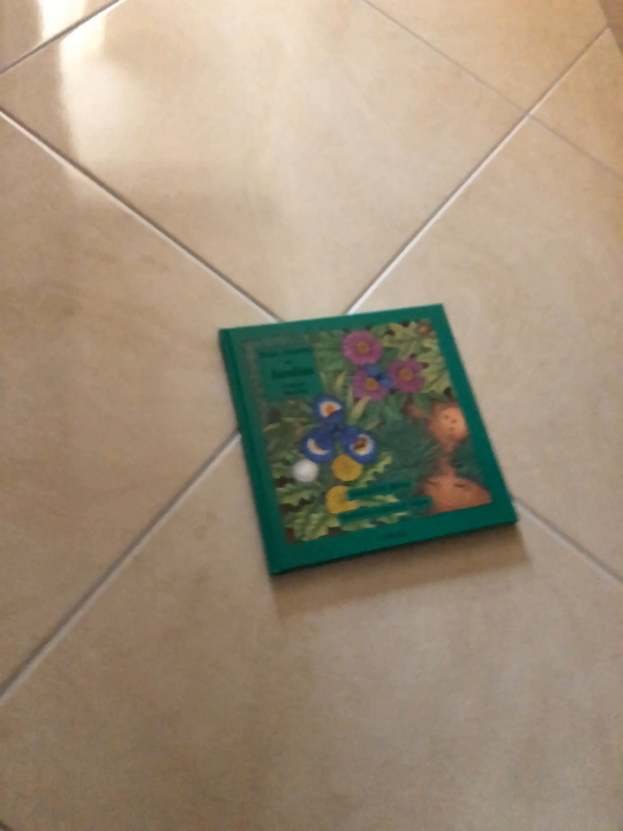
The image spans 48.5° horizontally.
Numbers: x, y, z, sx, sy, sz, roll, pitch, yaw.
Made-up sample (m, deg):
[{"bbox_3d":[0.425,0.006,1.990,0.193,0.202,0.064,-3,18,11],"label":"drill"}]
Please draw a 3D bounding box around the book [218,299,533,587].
[{"bbox_3d":[0.055,0.013,0.650,0.241,0.030,0.240,-9,68,-15],"label":"book"}]
